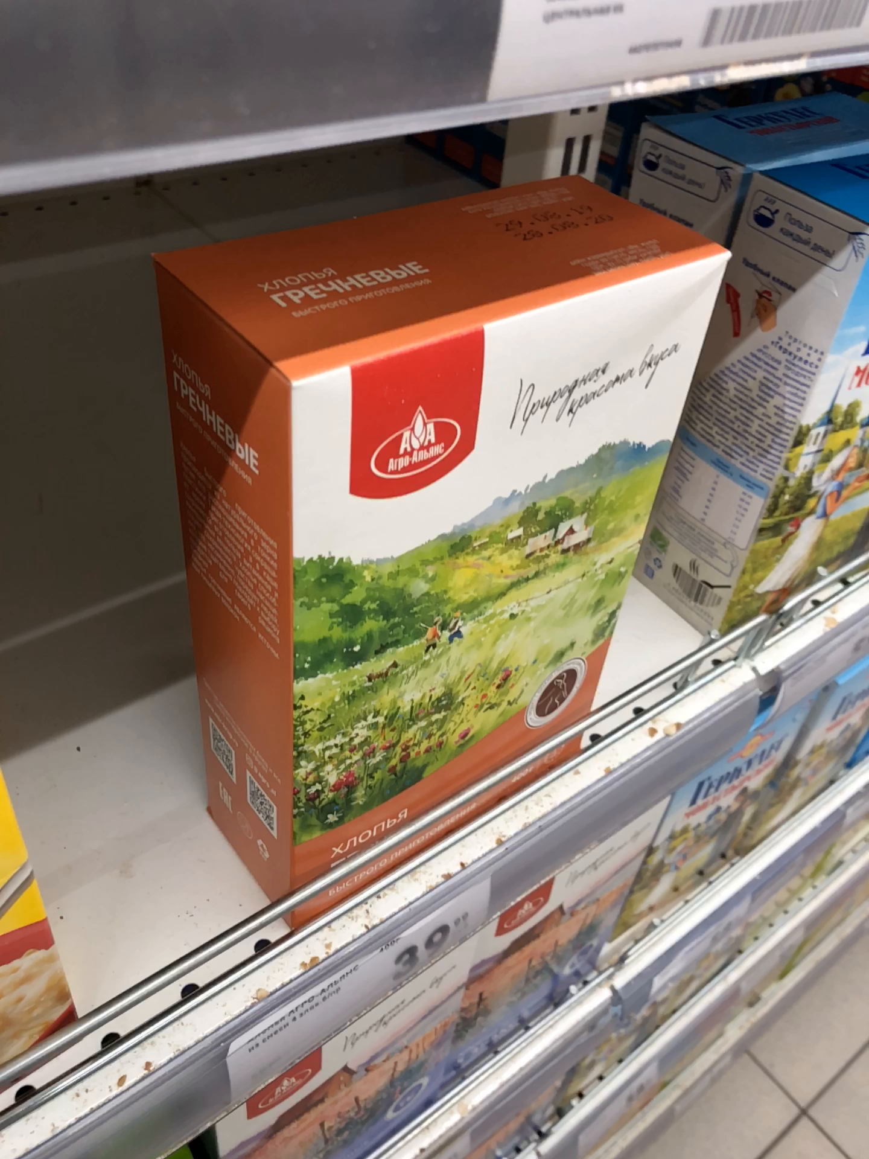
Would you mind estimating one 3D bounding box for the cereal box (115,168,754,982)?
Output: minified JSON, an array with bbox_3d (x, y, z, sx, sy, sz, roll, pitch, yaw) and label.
[{"bbox_3d":[-0.004,0.004,0.273,0.130,0.199,0.060,-25,50,-32],"label":"cereal box"}]
